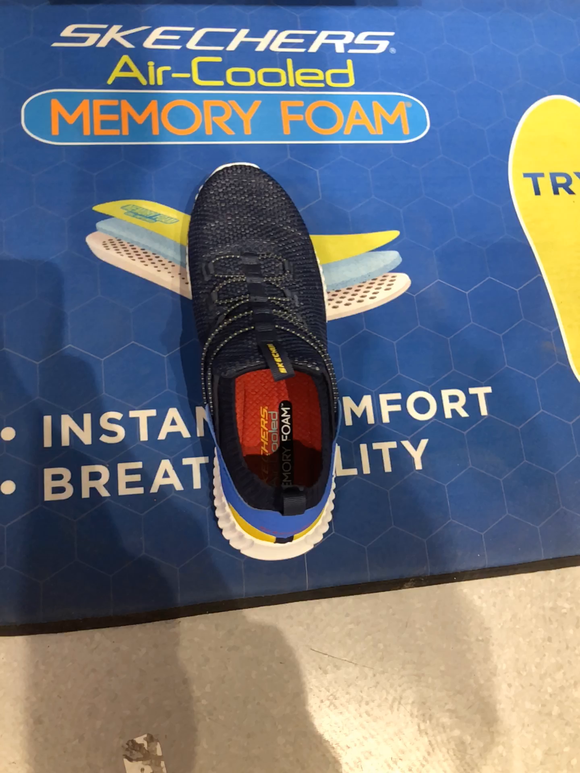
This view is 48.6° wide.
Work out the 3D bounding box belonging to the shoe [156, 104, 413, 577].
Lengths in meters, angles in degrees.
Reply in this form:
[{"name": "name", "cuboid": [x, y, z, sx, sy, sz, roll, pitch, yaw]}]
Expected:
[{"name": "shoe", "cuboid": [-0.014, -0.030, 0.425, 0.111, 0.103, 0.280, -7, 77, -9]}]
